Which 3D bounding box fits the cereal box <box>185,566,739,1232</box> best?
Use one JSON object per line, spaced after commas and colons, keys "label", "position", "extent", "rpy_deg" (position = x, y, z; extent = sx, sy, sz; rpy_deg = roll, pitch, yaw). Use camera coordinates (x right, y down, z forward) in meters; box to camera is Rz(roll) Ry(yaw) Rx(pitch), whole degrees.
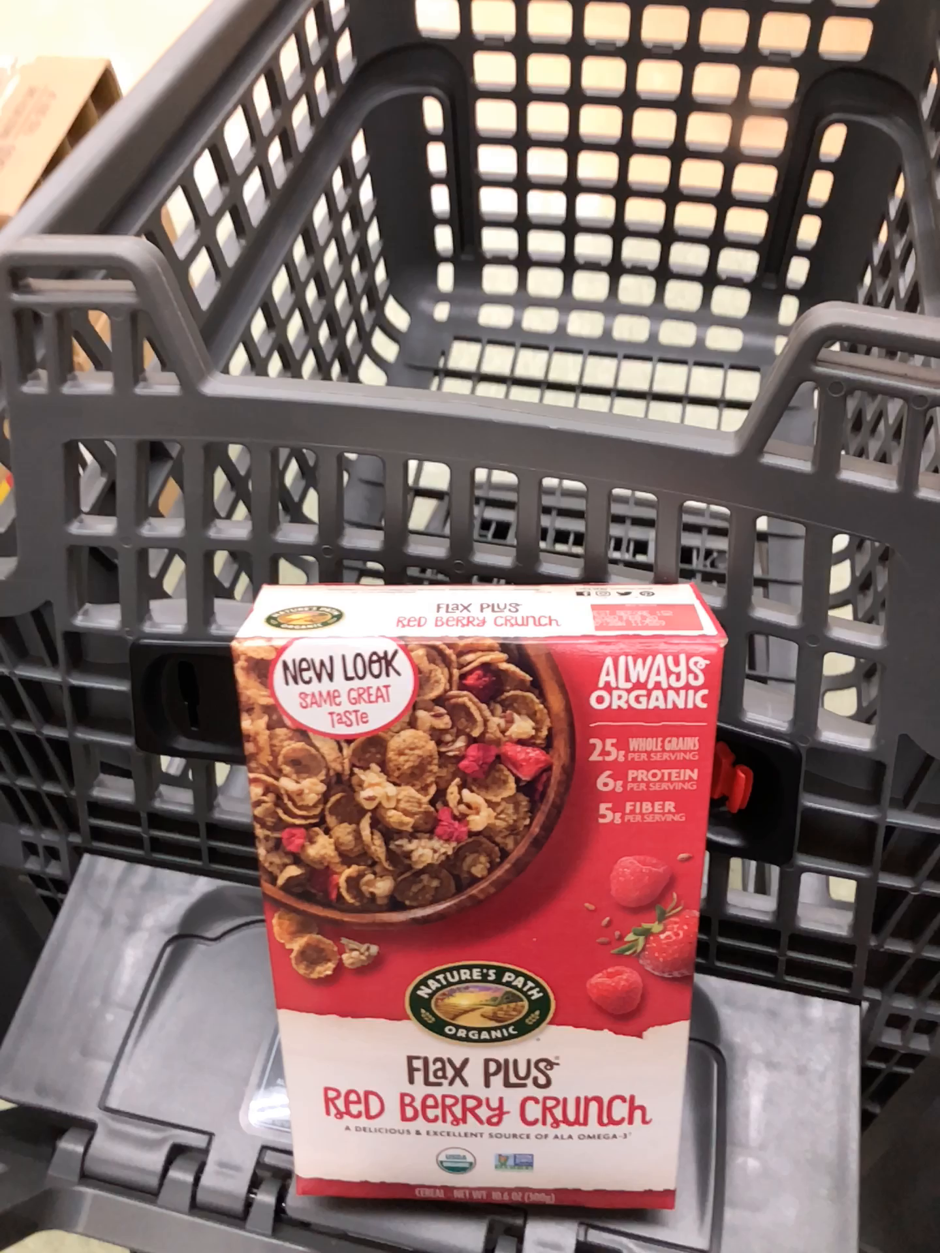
{"label": "cereal box", "position": [0.002, 0.107, 0.397], "extent": [0.170, 0.250, 0.070], "rpy_deg": [0, 22, 4]}
